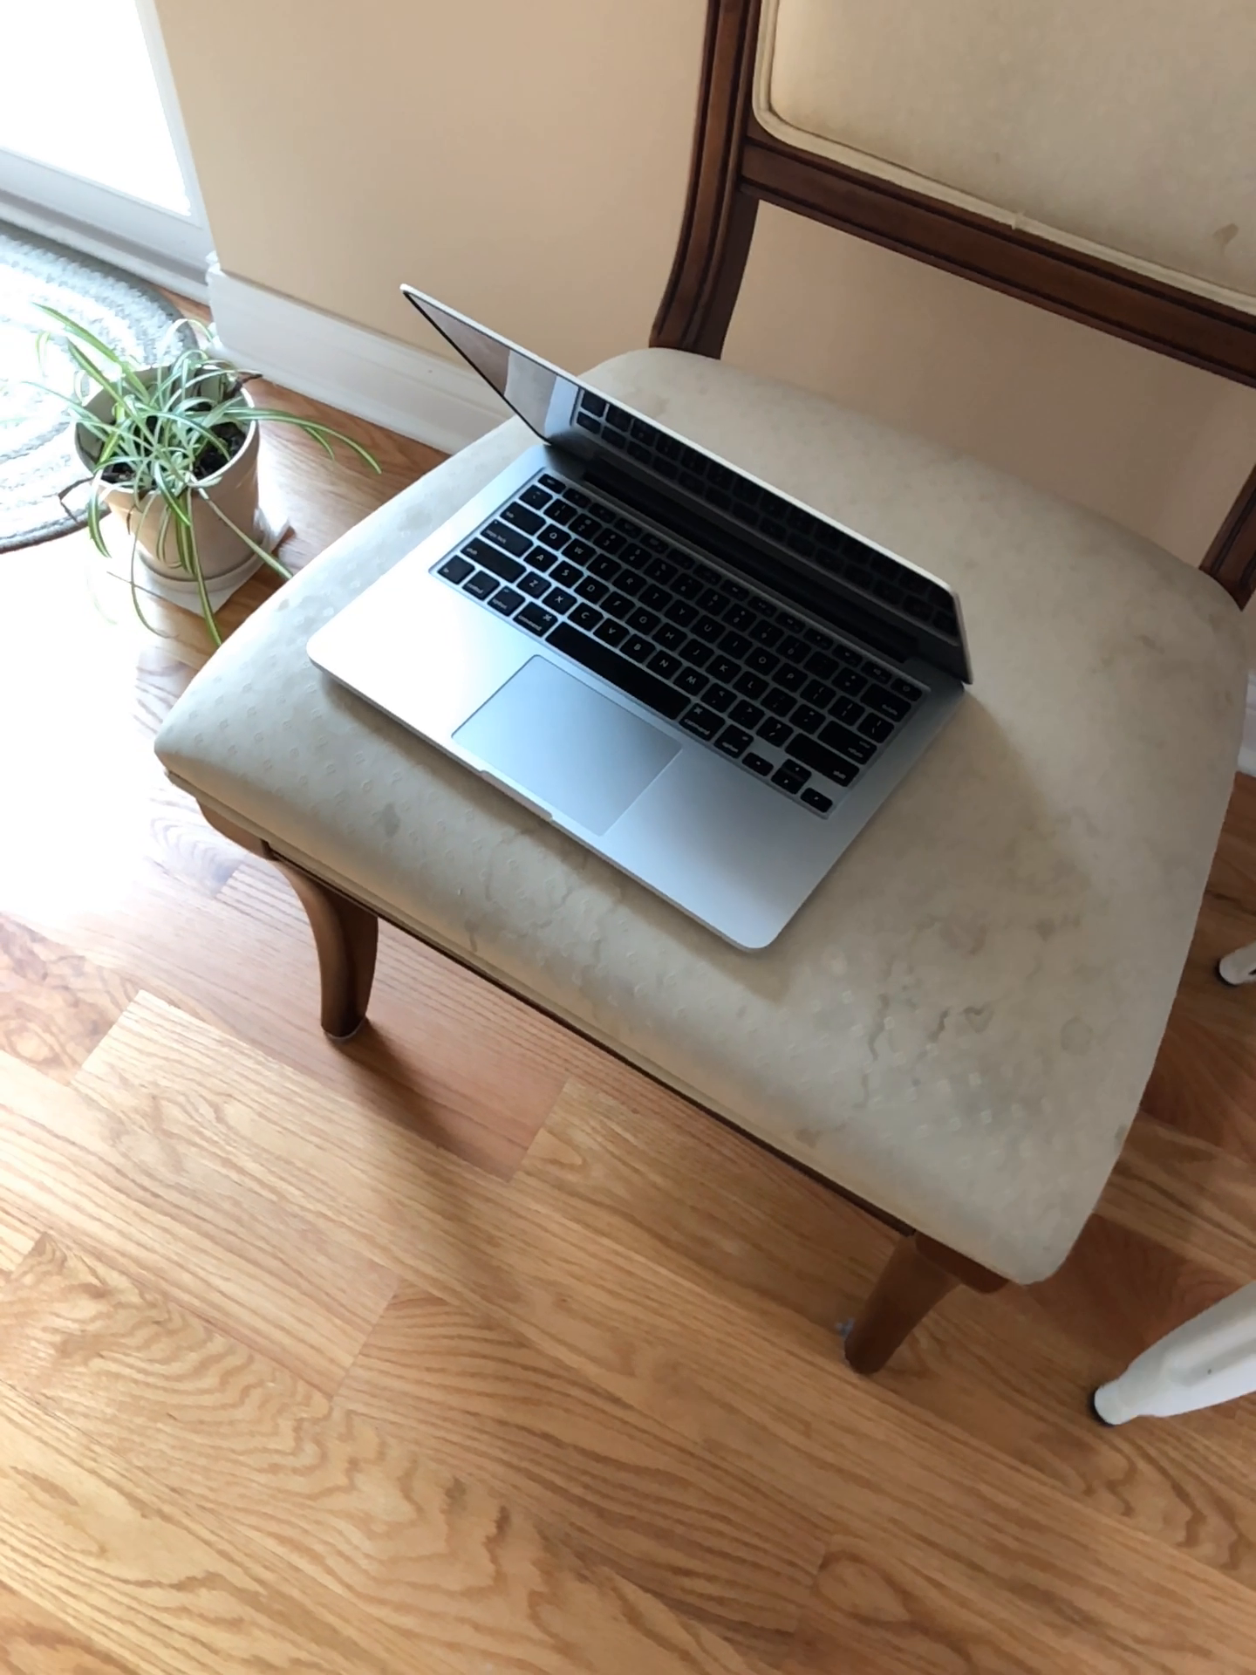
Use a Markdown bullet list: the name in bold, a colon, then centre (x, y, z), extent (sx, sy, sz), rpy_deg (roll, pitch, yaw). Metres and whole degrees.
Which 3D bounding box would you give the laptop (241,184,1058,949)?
- **laptop**: centre (0.009, -0.145, 0.711), extent (0.309, 0.183, 0.218), rpy_deg (33, 61, 17)
